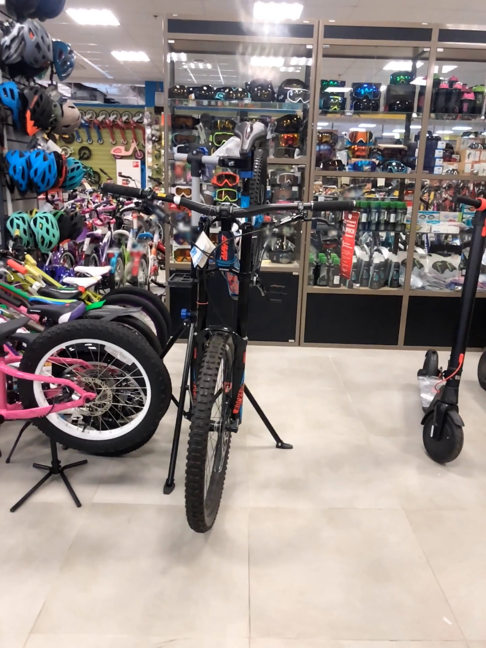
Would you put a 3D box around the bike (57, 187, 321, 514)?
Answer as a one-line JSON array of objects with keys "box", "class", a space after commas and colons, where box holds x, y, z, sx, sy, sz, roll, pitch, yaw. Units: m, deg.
[{"box": [-0.083, -0.071, 2.104, 0.659, 0.181, 1.532, 6, 42, 8], "class": "bike"}]
